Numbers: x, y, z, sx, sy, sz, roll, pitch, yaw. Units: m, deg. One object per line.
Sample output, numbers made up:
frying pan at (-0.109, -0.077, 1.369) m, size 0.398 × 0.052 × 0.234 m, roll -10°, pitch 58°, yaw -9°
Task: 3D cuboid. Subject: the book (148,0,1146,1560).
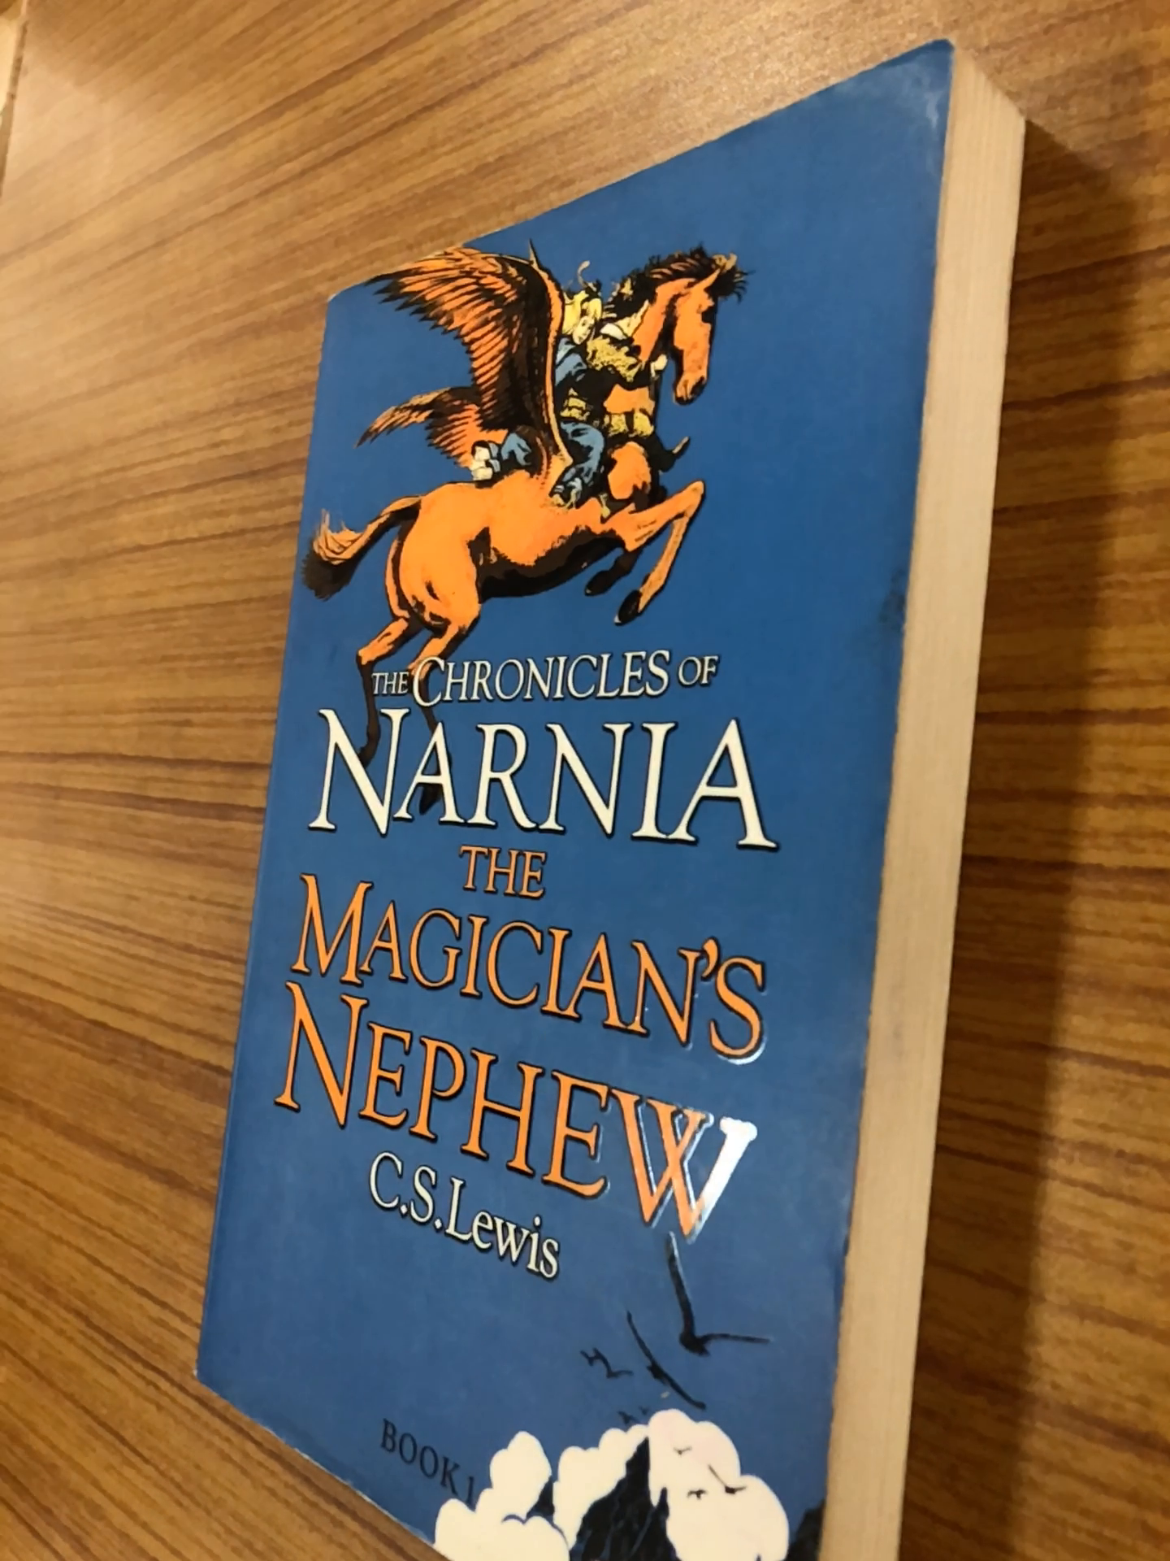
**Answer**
book at (-0.003, 0.011, 0.189) m, size 0.141 × 0.030 × 0.190 m, roll 2°, pitch 84°, yaw 45°
